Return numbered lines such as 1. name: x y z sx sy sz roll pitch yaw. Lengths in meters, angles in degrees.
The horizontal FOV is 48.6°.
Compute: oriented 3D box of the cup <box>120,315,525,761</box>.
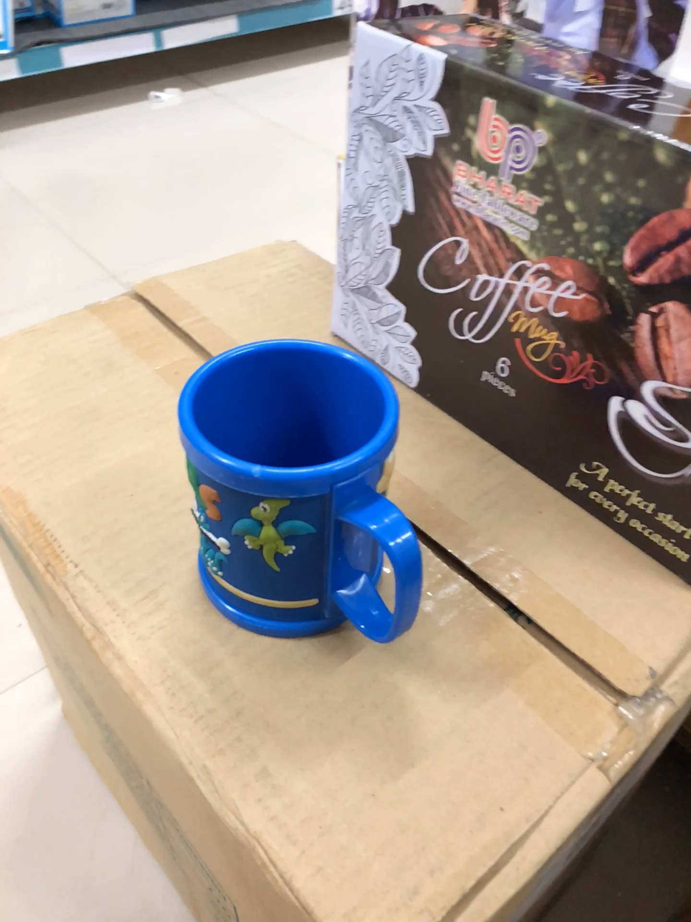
1. cup: -0.013 0.023 0.297 0.090 0.089 0.120 -24 49 -26
